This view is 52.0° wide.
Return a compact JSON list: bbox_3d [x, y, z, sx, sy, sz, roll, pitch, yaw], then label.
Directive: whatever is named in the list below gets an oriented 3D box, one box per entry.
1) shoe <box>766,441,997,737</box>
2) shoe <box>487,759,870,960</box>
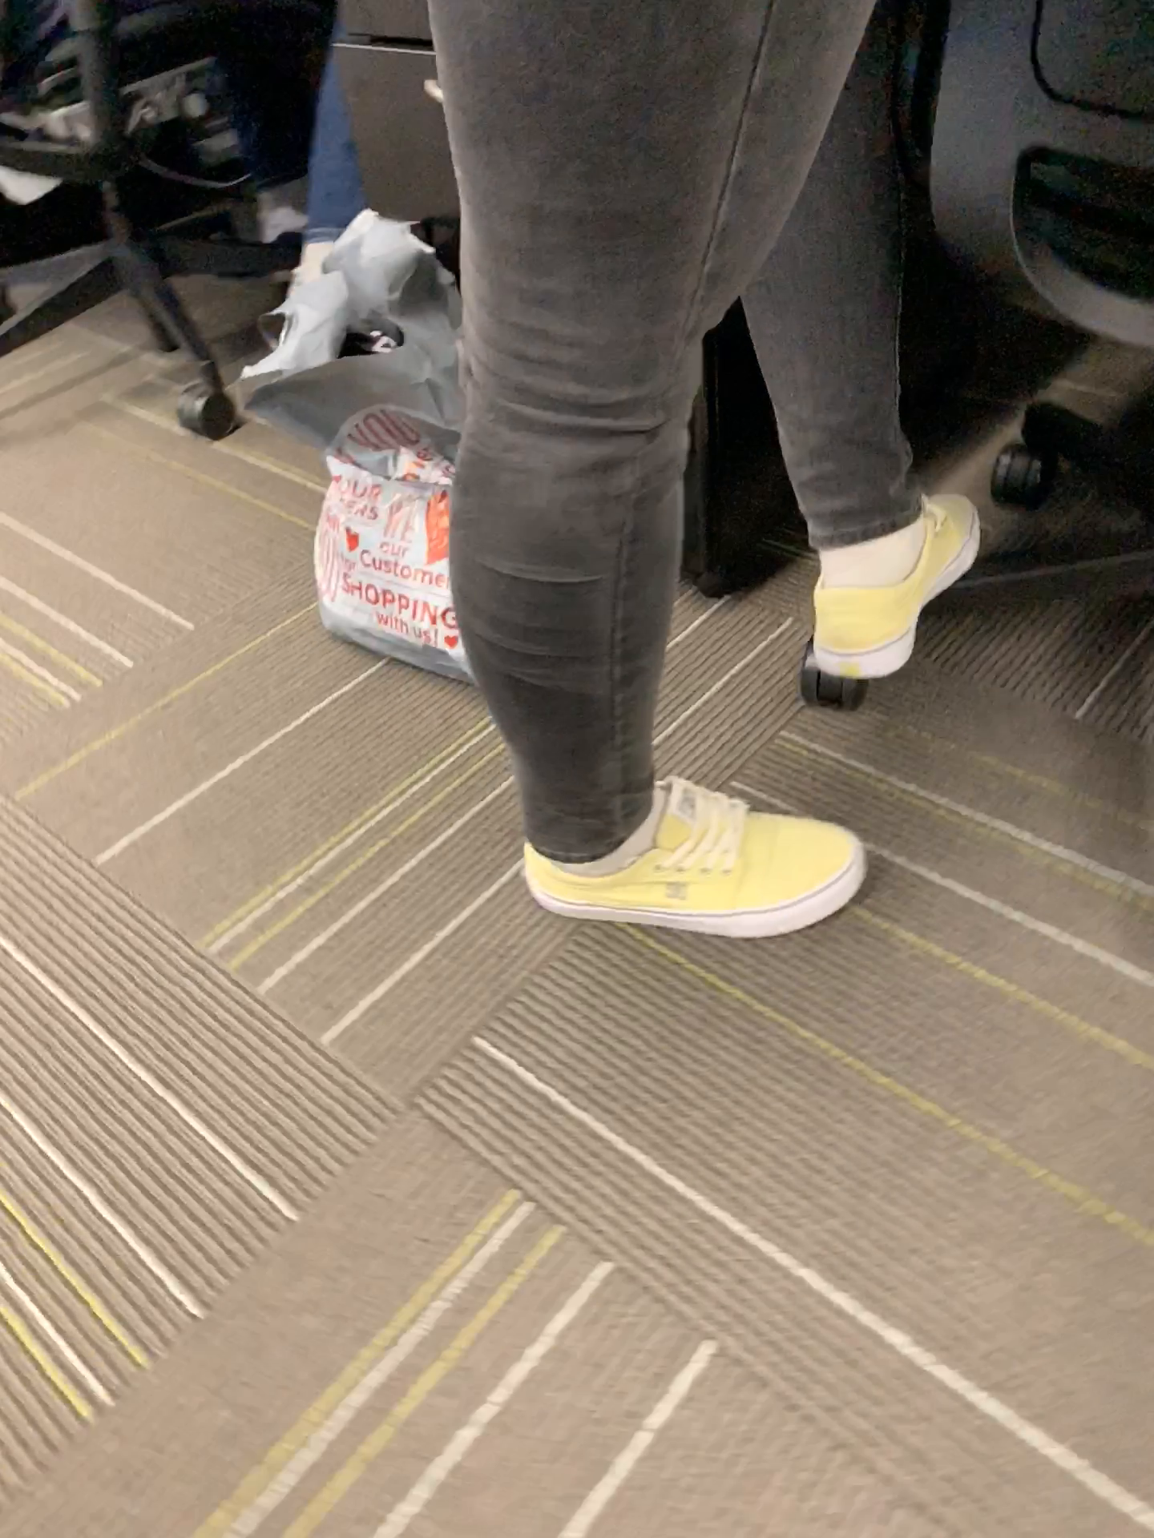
[{"bbox_3d":[0.250,-0.154,0.960,0.098,0.096,0.261,17,48,25],"label":"shoe"},{"bbox_3d":[0.080,0.066,0.898,0.268,0.101,0.103,1,43,10],"label":"shoe"}]
